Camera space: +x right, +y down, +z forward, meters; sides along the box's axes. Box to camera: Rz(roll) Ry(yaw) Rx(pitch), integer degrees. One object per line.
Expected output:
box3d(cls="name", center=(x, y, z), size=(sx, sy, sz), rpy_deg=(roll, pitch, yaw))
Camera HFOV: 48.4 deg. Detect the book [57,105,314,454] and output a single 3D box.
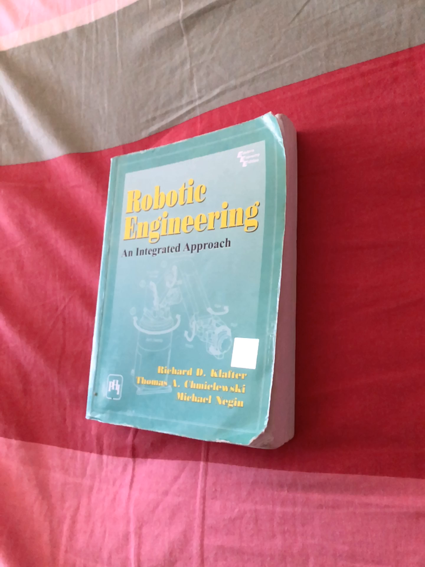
box3d(cls="book", center=(-0.021, -0.001, 0.333), size=(0.172, 0.043, 0.205), rpy_deg=(-3, 76, 31))
